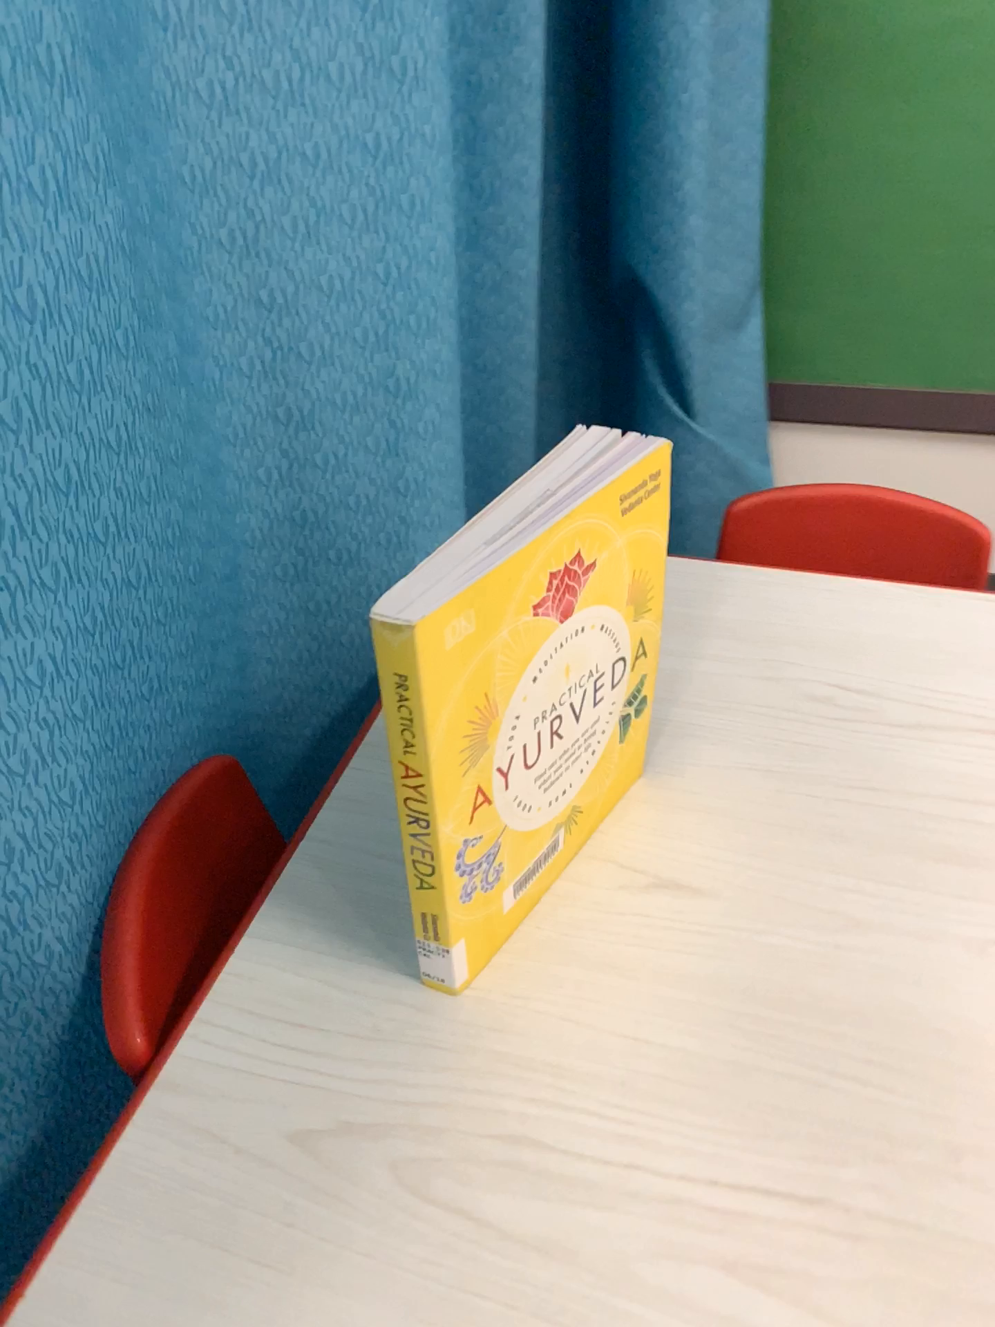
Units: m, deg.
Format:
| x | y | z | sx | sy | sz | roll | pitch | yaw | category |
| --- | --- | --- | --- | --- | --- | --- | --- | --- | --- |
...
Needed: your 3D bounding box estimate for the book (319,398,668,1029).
| x | y | z | sx | sy | sz | roll | pitch | yaw | category |
| --- | --- | --- | --- | --- | --- | --- | --- | --- | --- |
| 0.013 | 0.025 | 0.537 | 0.050 | 0.259 | 0.211 | 20 | 42 | 28 | book |
